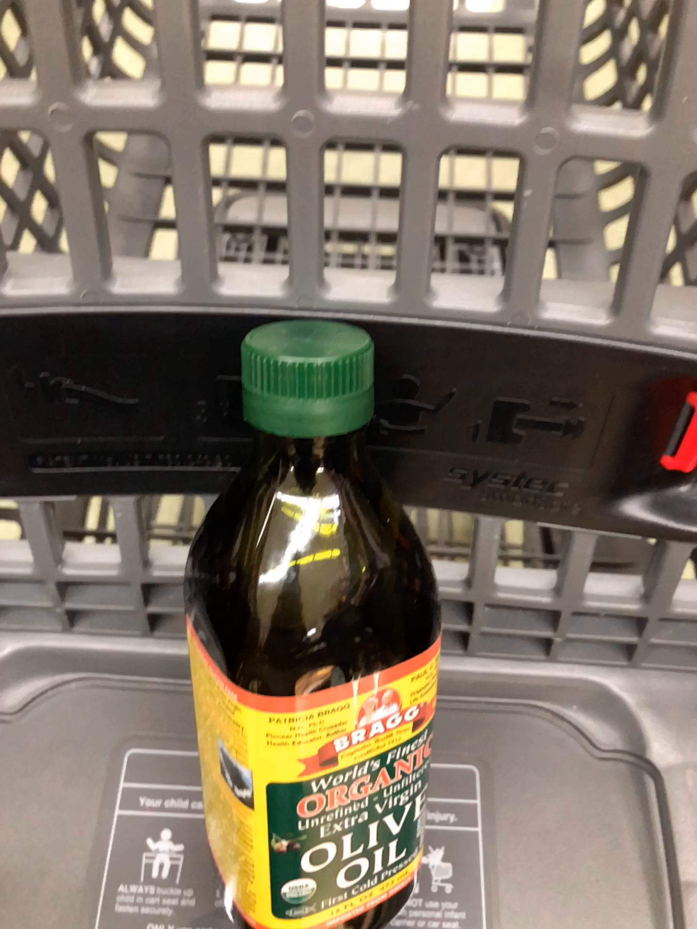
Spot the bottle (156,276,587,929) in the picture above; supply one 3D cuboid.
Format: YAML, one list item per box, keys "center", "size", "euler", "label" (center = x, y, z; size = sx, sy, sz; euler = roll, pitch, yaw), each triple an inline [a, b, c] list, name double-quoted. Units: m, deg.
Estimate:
- center: [-0.001, 0.051, 0.233]
  size: [0.080, 0.193, 0.070]
  euler: [-12, 31, -28]
  label: "bottle"
